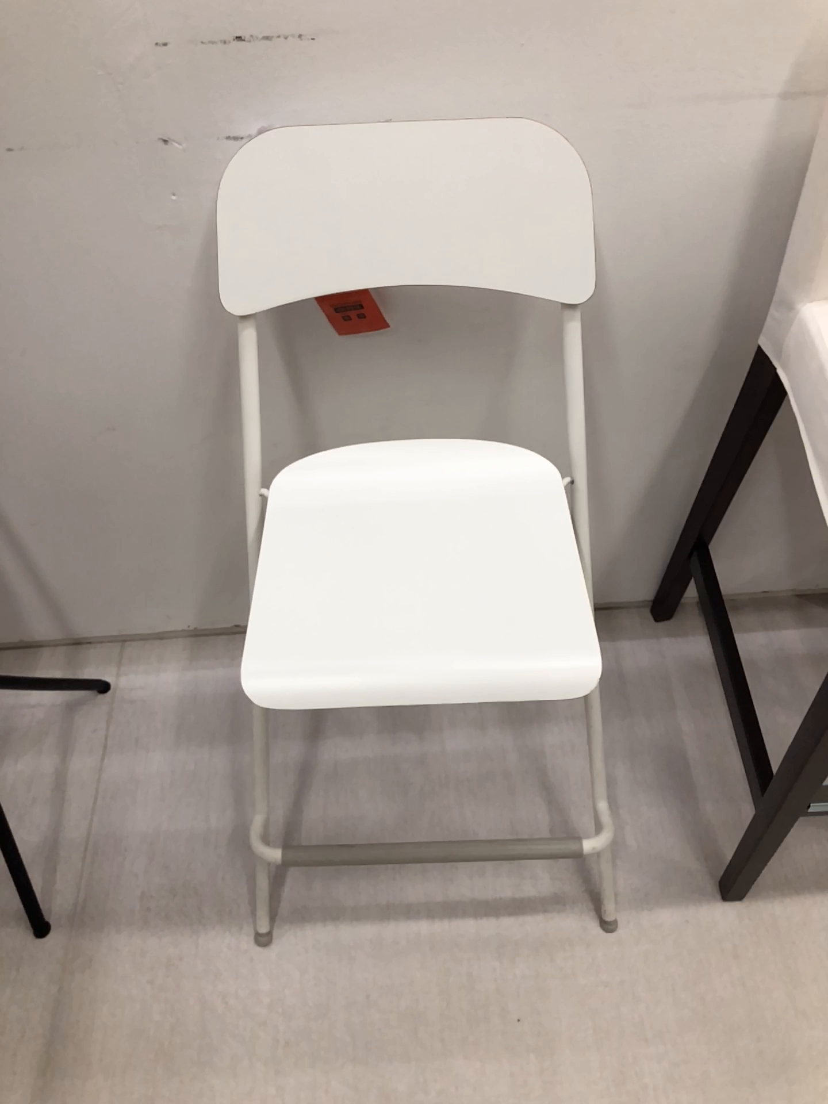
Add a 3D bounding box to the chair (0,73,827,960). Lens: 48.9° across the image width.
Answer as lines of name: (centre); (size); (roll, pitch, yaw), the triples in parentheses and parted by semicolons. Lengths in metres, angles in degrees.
chair: (0.016, 0.052, 1.017); (0.530, 0.895, 0.483); (-4, 50, 0)
